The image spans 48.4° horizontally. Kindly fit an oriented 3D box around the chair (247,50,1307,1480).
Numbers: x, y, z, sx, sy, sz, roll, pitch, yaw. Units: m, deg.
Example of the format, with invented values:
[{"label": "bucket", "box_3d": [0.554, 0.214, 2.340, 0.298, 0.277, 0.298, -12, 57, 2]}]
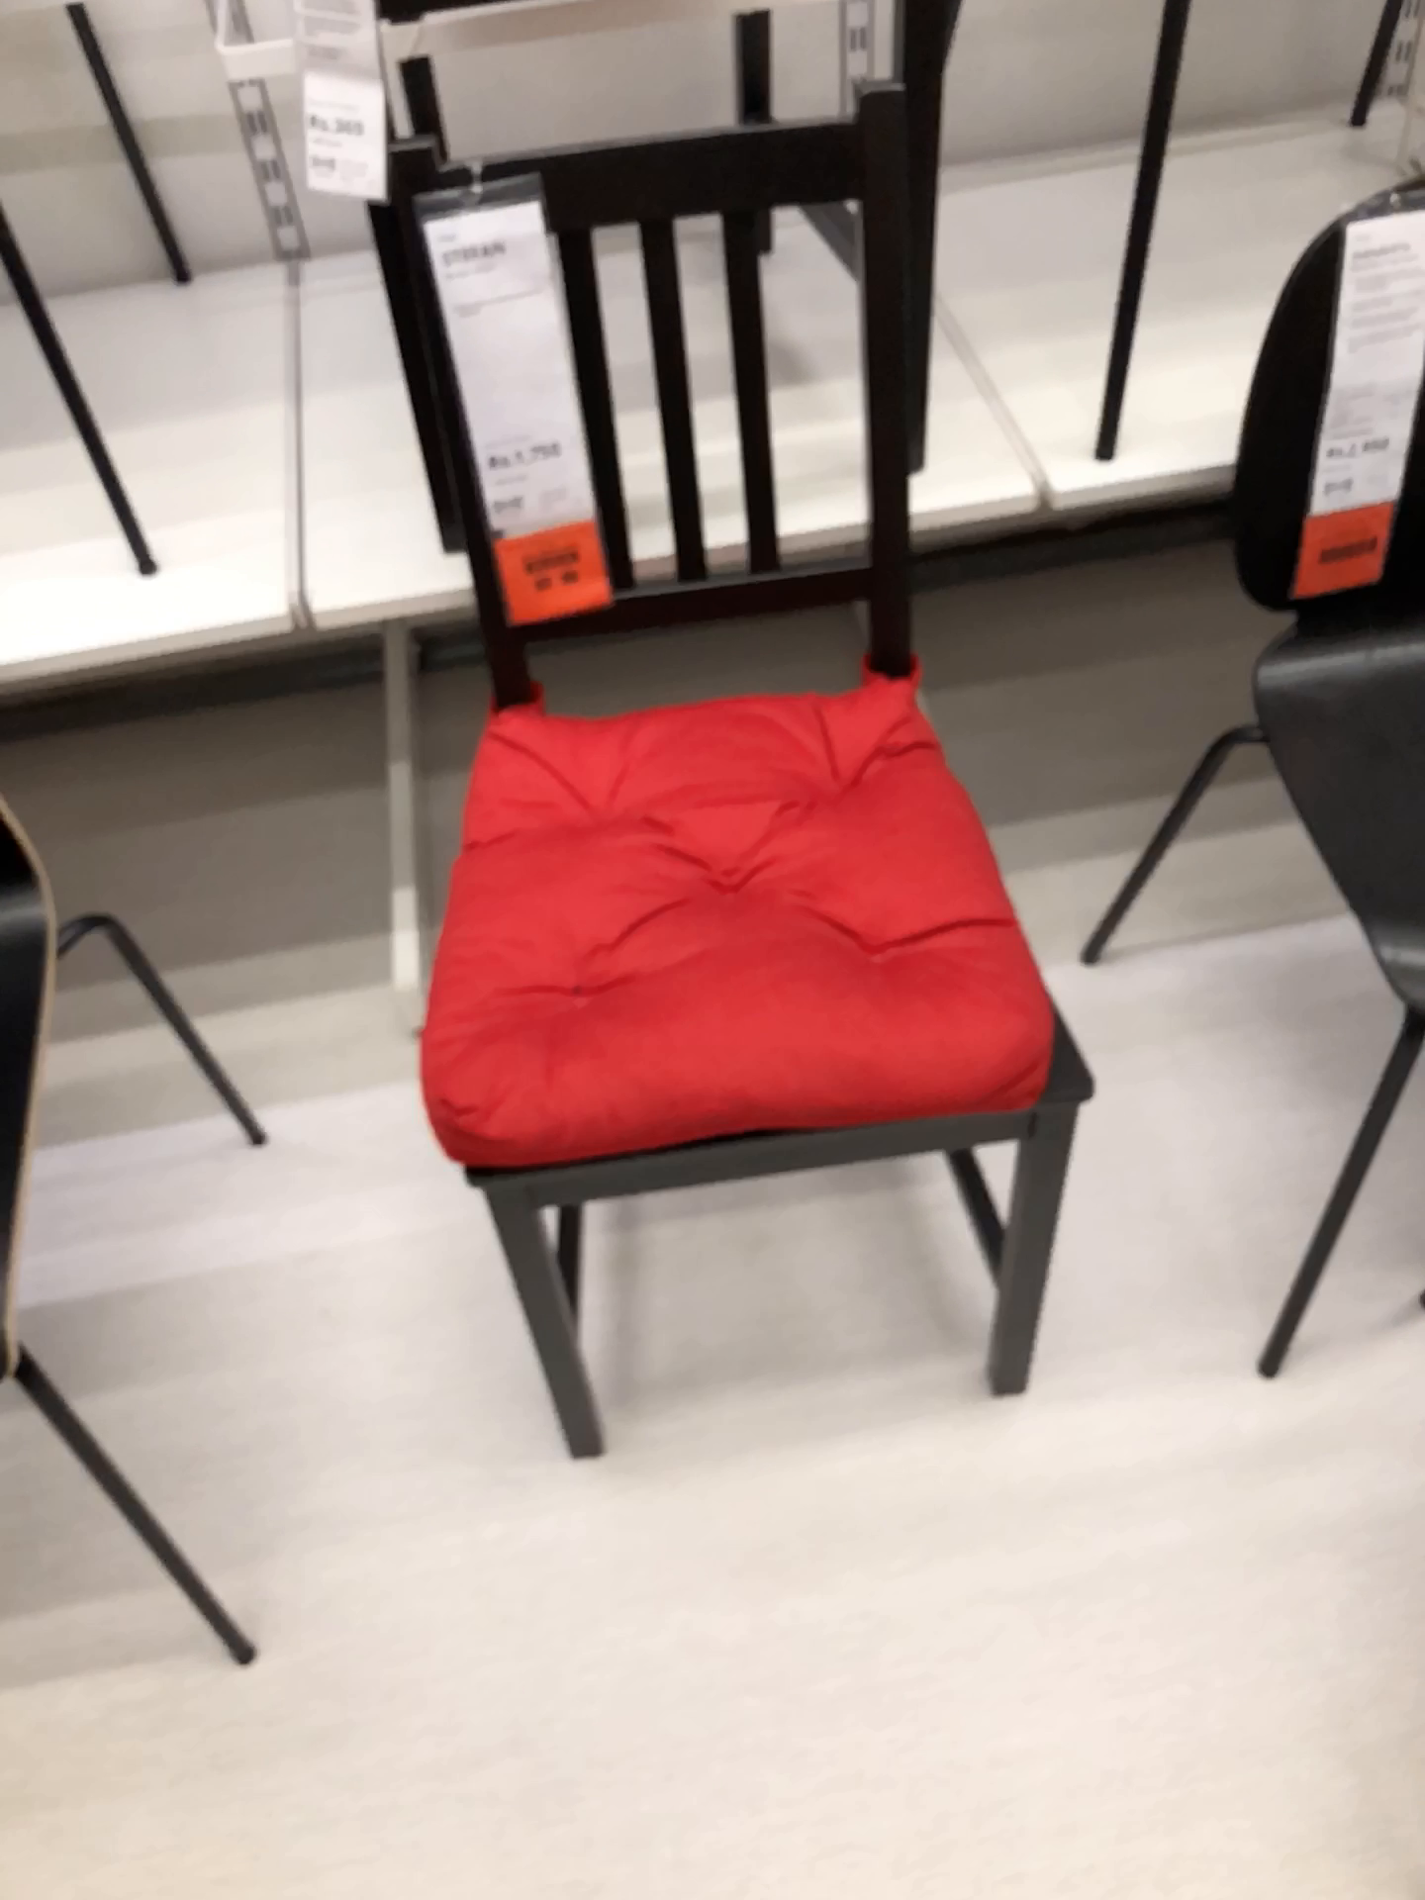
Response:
[{"label": "chair", "box_3d": [0.026, -0.062, 1.109, 0.430, 0.835, 0.483, -8, 49, -2]}]
